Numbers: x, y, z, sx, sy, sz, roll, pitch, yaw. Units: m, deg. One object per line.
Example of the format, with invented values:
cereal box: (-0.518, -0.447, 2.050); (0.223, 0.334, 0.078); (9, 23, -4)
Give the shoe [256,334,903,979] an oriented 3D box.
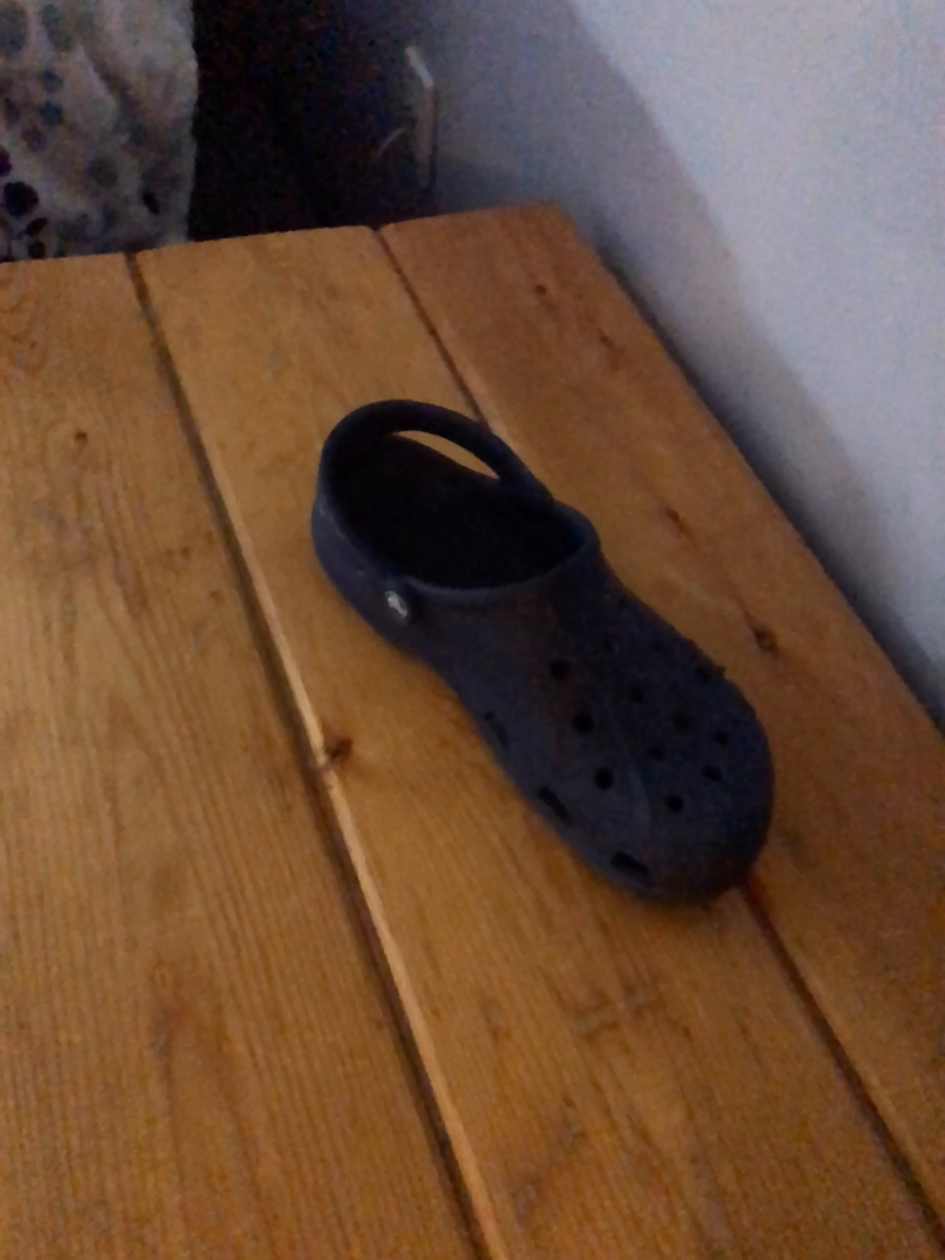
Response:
shoe: (0.033, -0.005, 0.492); (0.130, 0.080, 0.290); (-29, 63, -26)
